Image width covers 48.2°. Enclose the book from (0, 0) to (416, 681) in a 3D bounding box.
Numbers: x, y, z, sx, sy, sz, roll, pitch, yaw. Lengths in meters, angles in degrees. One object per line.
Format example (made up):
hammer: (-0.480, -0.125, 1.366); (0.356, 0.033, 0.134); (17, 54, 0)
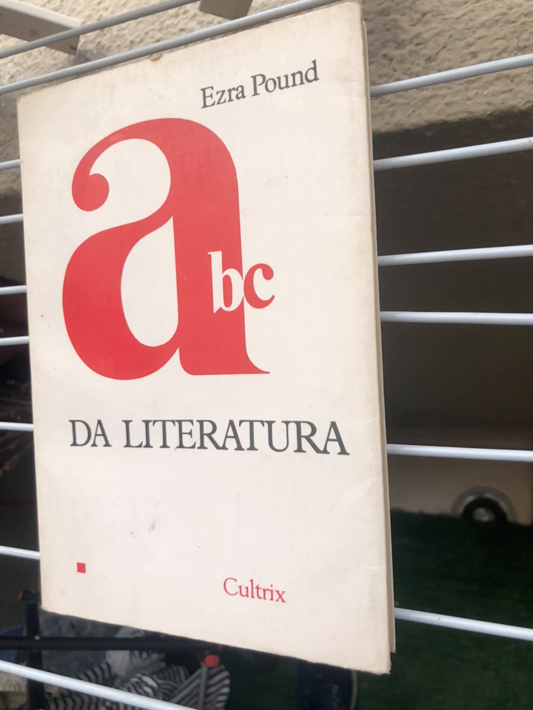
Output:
book: (-0.027, -0.001, 0.199); (0.140, 0.017, 0.187); (-3, 91, 24)
